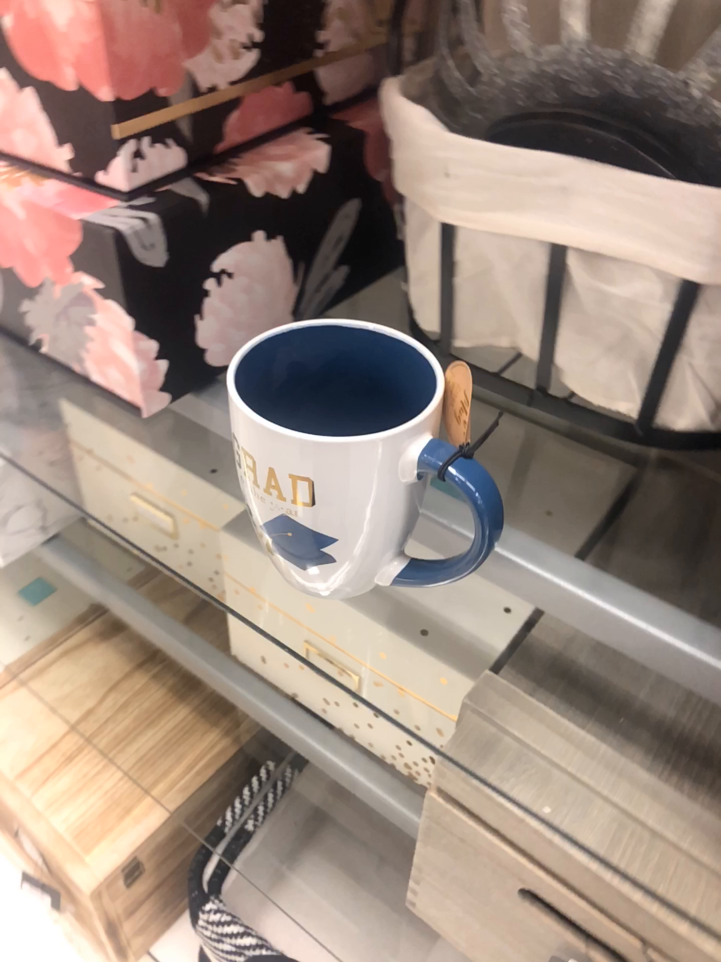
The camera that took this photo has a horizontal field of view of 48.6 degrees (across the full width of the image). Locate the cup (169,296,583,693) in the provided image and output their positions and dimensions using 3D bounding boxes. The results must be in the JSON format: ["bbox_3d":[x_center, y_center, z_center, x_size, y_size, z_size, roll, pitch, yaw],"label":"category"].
[{"bbox_3d":[0.005,-0.003,0.395,0.150,0.096,0.116,30,48,28],"label":"cup"}]
